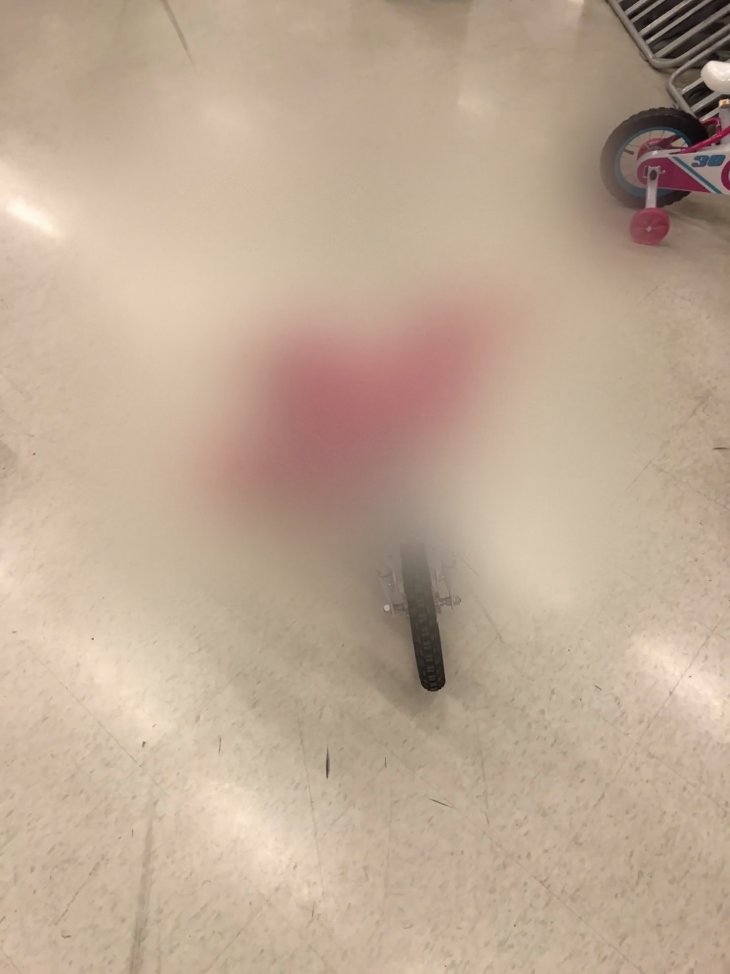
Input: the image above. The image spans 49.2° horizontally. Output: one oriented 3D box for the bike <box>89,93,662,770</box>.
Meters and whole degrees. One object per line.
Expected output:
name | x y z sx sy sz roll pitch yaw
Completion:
bike | -0.056 -0.103 1.336 0.510 0.680 0.776 -16 55 -16
